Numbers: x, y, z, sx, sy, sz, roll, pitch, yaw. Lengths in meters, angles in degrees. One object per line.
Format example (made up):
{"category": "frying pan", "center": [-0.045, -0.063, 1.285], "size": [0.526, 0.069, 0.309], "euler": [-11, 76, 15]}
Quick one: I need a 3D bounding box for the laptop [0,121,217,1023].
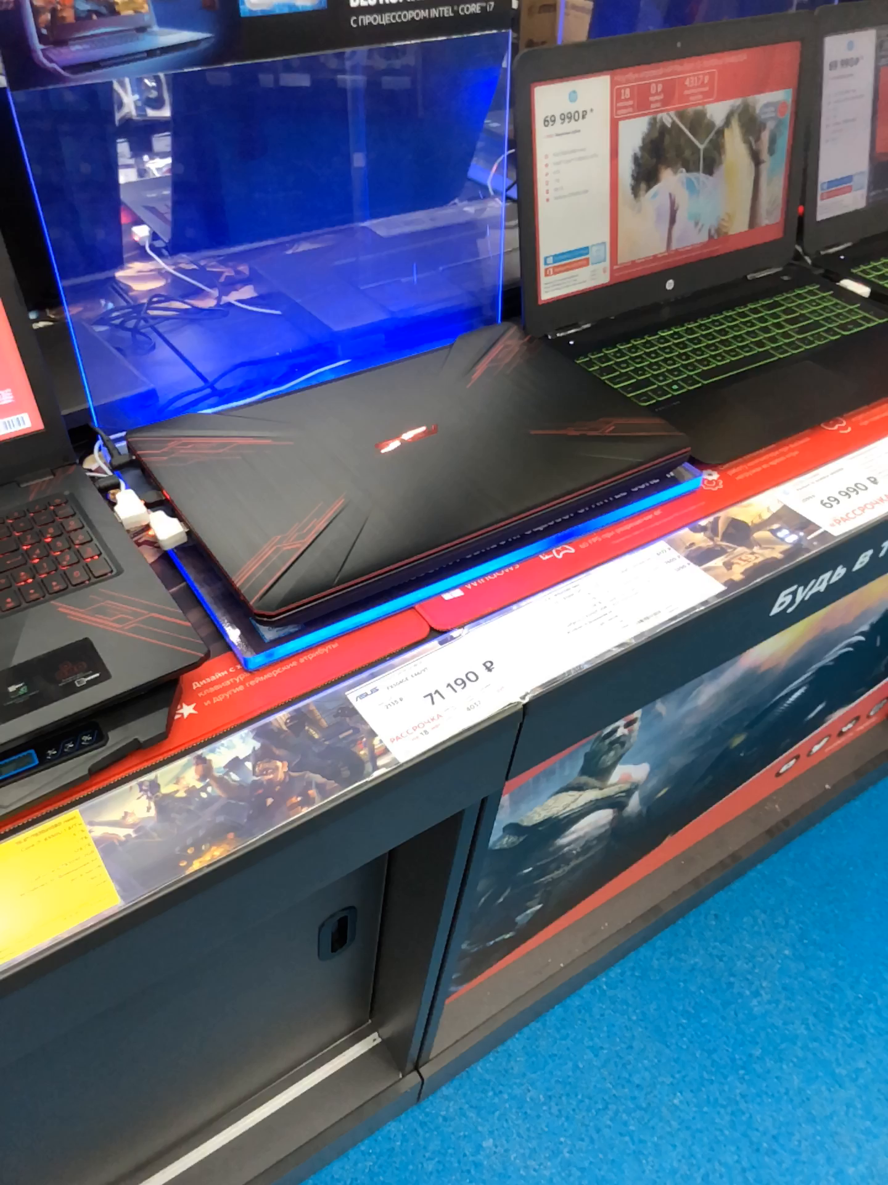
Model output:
{"category": "laptop", "center": [-0.392, -0.060, 0.522], "size": [0.391, 0.231, 0.319], "euler": [-25, 46, -26]}

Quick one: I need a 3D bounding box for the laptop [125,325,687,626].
{"category": "laptop", "center": [-0.030, -0.116, 0.774], "size": [0.373, 0.006, 0.244], "euler": [-23, 47, -24]}

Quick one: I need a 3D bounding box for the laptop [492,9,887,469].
{"category": "laptop", "center": [0.289, -0.340, 0.881], "size": [0.374, 0.242, 0.293], "euler": [-23, 47, -25]}
